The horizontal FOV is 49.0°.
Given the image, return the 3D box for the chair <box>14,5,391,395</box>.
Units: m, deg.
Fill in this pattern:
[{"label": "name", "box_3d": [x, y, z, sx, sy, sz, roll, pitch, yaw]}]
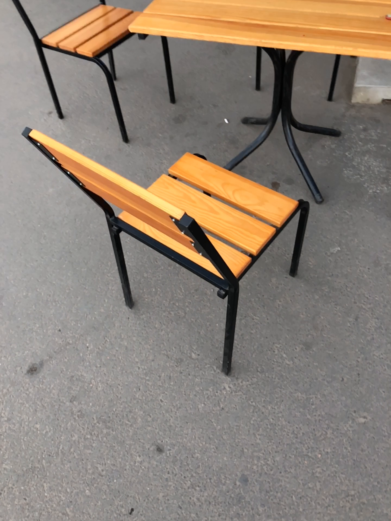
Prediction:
[{"label": "chair", "box_3d": [0.048, -0.140, 1.074, 0.491, 0.638, 0.551, 31, 61, 26]}]
